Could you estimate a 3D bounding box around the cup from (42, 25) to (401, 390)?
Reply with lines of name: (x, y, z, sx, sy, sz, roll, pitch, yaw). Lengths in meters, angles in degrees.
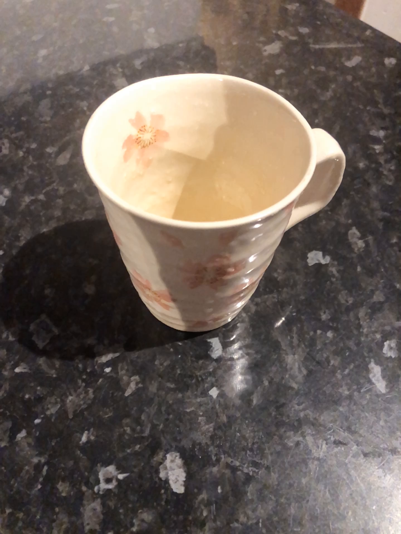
cup: (0.016, -0.028, 0.208, 0.130, 0.100, 0.090, -22, 58, -16)
